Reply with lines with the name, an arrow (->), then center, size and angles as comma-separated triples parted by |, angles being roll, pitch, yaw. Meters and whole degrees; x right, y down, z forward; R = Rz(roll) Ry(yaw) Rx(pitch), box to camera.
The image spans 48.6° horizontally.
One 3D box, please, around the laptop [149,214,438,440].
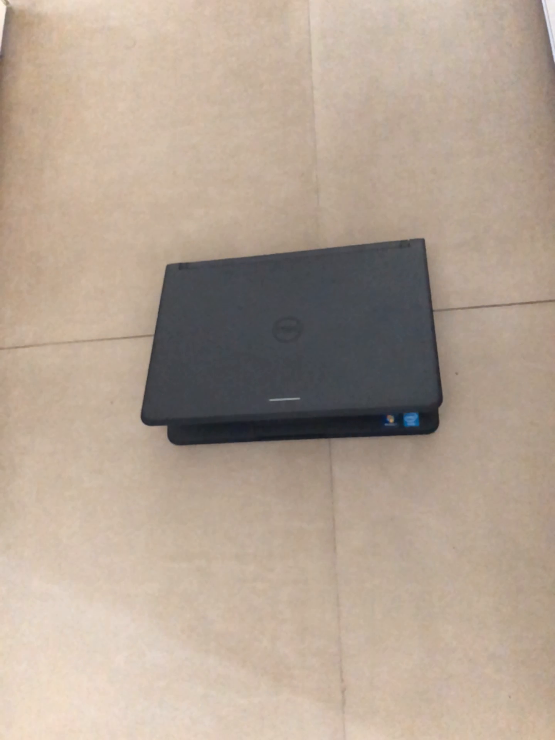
laptop -> 0.013, -0.041, 0.703 | 0.314, 0.064, 0.220 | -4, 80, 12
